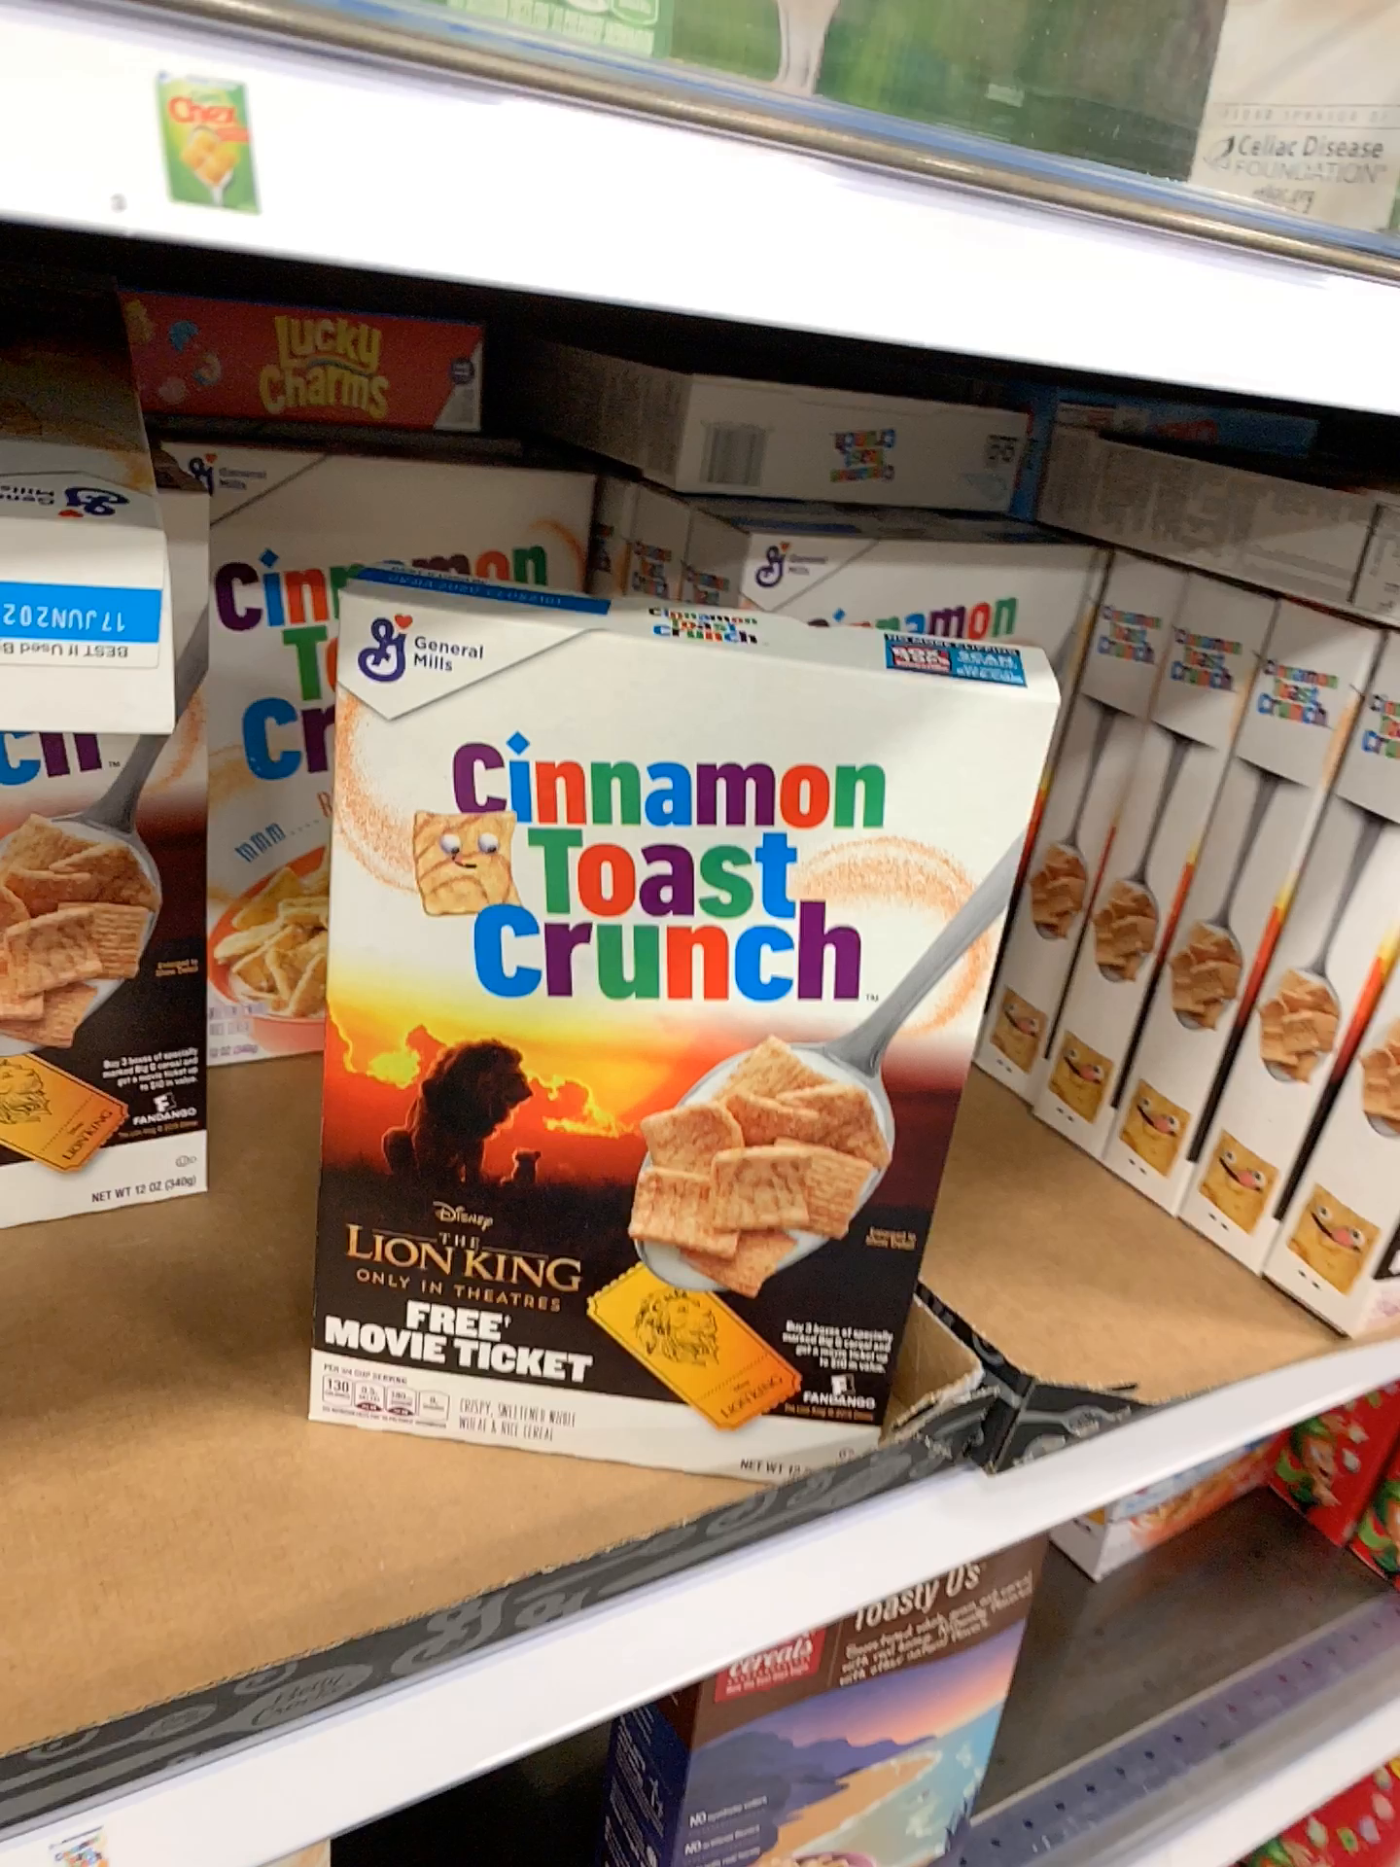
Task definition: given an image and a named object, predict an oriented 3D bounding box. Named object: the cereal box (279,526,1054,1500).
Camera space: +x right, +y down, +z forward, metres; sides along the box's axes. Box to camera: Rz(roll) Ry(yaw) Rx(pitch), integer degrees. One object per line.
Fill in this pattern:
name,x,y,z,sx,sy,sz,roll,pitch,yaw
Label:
cereal box,-0.024,0.036,0.439,0.190,0.279,0.060,7,25,-2
